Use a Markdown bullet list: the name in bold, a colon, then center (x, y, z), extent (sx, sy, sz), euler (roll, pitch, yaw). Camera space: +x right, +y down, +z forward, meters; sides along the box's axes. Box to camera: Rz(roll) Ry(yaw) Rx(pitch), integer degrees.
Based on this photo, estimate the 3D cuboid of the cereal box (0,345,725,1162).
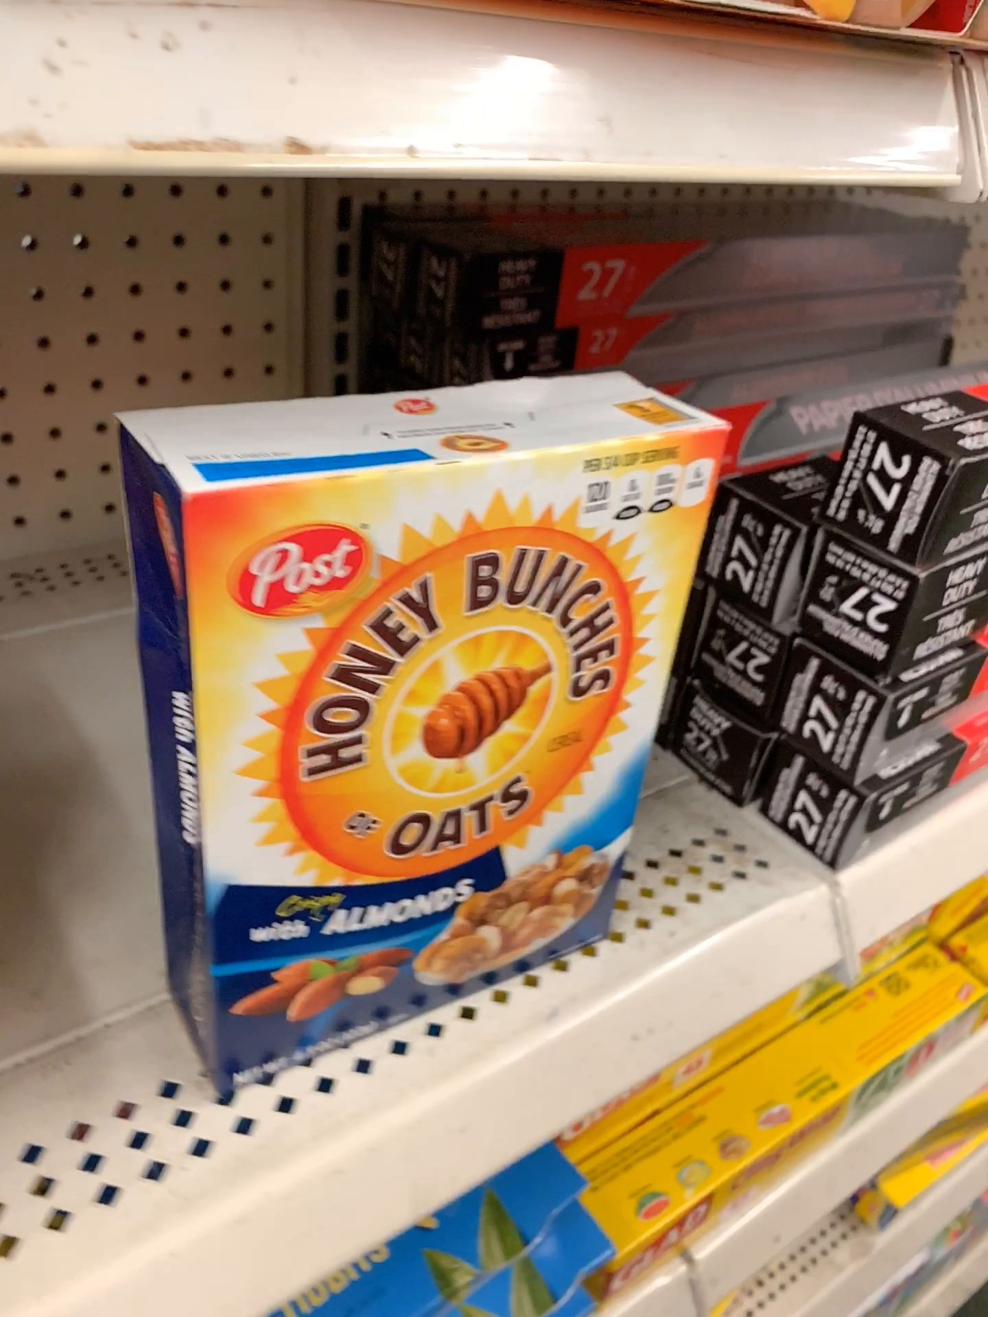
- **cereal box**: center (-0.032, 0.024, 0.273), extent (0.150, 0.189, 0.050), euler (-13, 37, -28)
